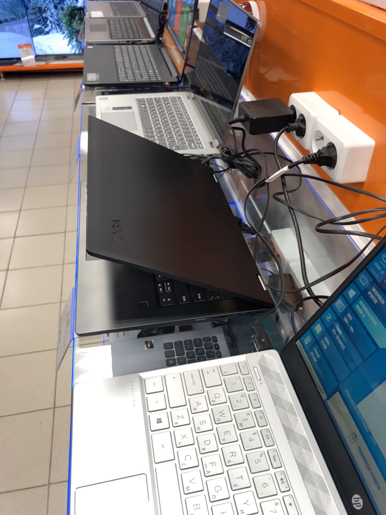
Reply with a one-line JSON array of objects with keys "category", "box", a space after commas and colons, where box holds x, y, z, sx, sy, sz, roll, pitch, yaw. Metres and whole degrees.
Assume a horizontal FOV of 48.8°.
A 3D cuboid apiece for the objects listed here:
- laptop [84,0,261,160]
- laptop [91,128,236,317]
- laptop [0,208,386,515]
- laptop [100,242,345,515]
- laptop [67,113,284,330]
[{"category": "laptop", "box": [-0.059, -0.378, 0.844, 0.267, 0.219, 0.312, -7, 41, -8]}, {"category": "laptop", "box": [-0.083, -0.100, 0.983, 0.265, 0.223, 0.375, -7, 41, -8]}, {"category": "laptop", "box": [0.063, 0.128, 0.264, 0.317, 0.162, 0.284, -7, 38, -5]}, {"category": "laptop", "box": [0.007, 0.186, 0.645, 0.256, 0.236, 0.355, -6, 39, -7]}, {"category": "laptop", "box": [-0.041, -0.075, 0.572, 0.213, 0.102, 0.326, -7, 40, -7]}]
